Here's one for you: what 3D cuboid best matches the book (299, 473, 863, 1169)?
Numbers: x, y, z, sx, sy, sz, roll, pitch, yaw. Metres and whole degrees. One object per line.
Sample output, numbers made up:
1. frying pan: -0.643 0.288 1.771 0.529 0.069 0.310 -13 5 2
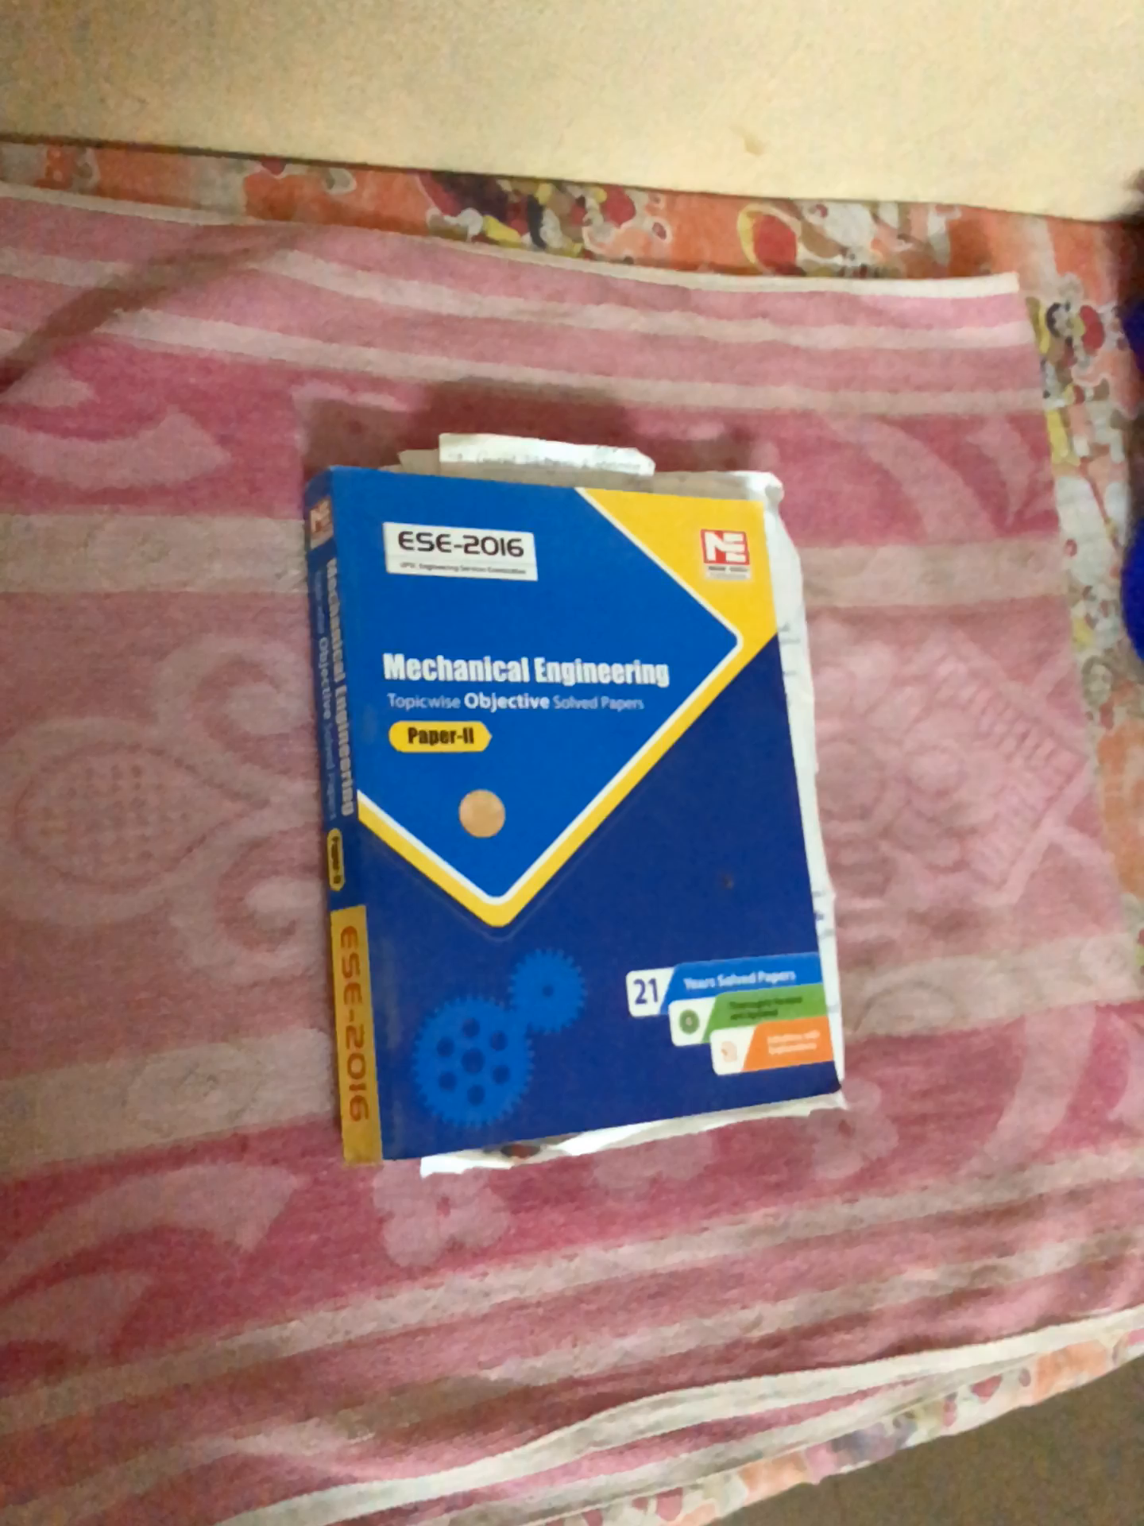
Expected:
1. book: 0.003 0.019 0.555 0.215 0.055 0.270 -1 79 -24
